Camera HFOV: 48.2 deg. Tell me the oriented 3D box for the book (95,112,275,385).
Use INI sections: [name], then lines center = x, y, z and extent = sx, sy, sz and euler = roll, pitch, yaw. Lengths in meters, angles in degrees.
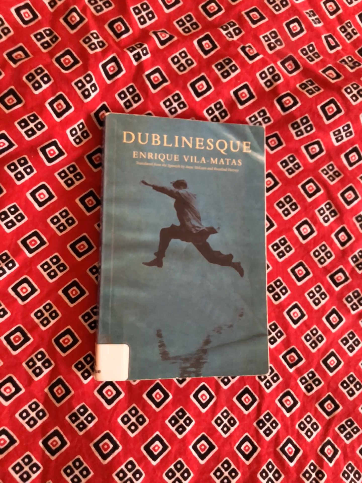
[book]
center = 0.006, 0.005, 0.322
extent = 0.137, 0.020, 0.203
euler = 2, 84, -11
